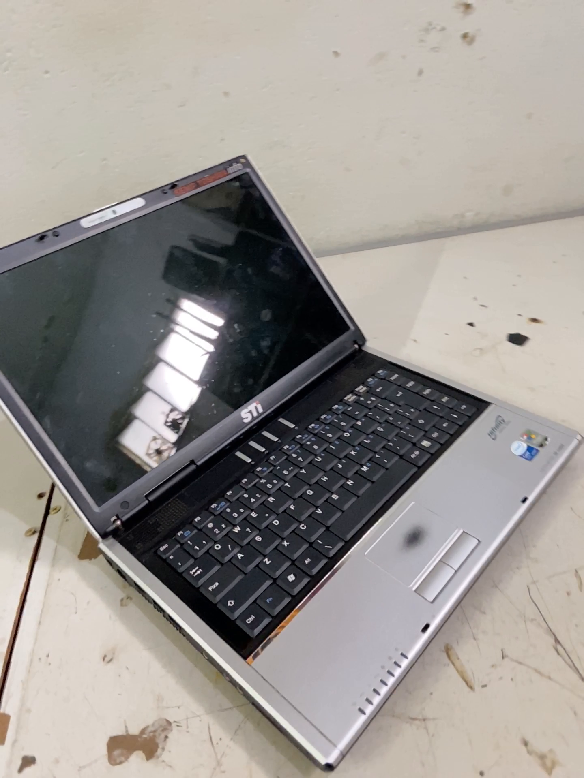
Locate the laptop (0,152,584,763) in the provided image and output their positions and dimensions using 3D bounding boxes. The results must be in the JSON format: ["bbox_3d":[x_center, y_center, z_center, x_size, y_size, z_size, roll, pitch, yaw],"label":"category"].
[{"bbox_3d":[-0.023,-0.020,0.467,0.387,0.167,0.326,28,49,34],"label":"laptop"}]
